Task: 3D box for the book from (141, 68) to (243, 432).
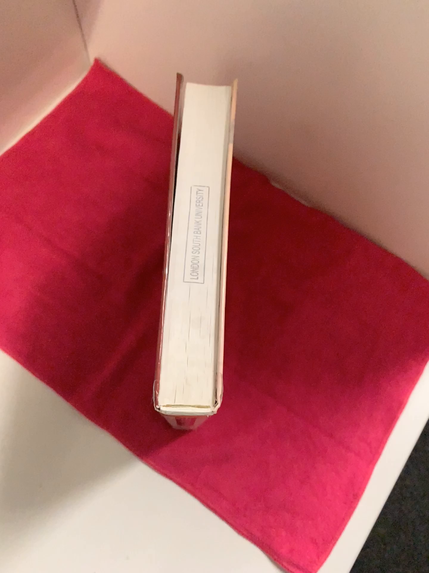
[{"bbox_3d":[-0.015,0.005,0.370,0.044,0.259,0.212,3,70,-2],"label":"book"}]
